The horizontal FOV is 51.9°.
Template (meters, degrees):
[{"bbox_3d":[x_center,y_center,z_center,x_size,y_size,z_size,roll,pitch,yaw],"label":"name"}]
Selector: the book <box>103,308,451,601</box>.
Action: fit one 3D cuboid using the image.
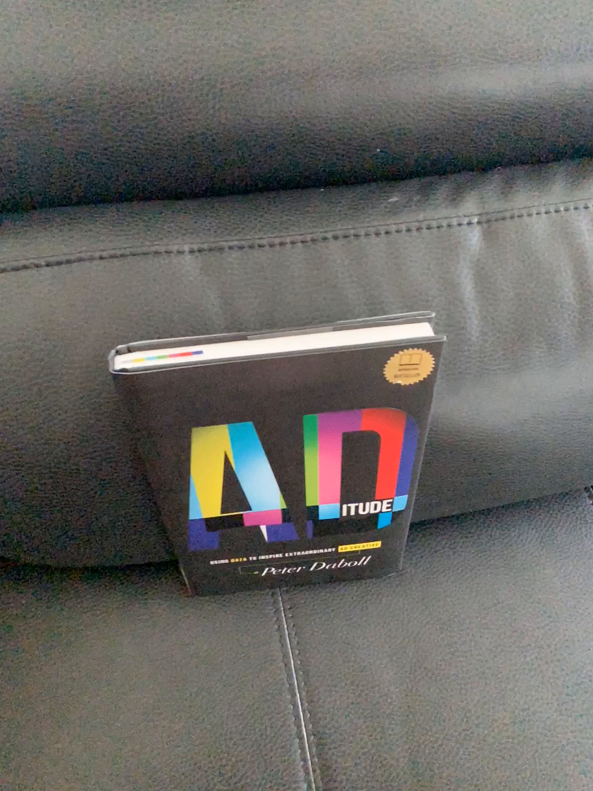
[{"bbox_3d":[-0.005,0.054,0.374,0.160,0.235,0.025,-6,47,-2],"label":"book"}]
